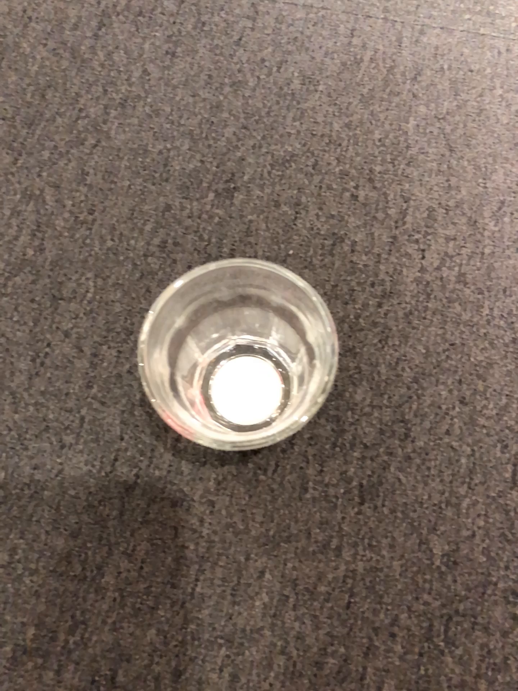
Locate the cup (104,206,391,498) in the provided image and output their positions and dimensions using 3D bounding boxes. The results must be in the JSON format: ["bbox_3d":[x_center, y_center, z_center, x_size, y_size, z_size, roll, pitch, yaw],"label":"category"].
[{"bbox_3d":[-0.005,0.005,0.165,0.060,0.050,0.060,0,71,0],"label":"cup"}]
